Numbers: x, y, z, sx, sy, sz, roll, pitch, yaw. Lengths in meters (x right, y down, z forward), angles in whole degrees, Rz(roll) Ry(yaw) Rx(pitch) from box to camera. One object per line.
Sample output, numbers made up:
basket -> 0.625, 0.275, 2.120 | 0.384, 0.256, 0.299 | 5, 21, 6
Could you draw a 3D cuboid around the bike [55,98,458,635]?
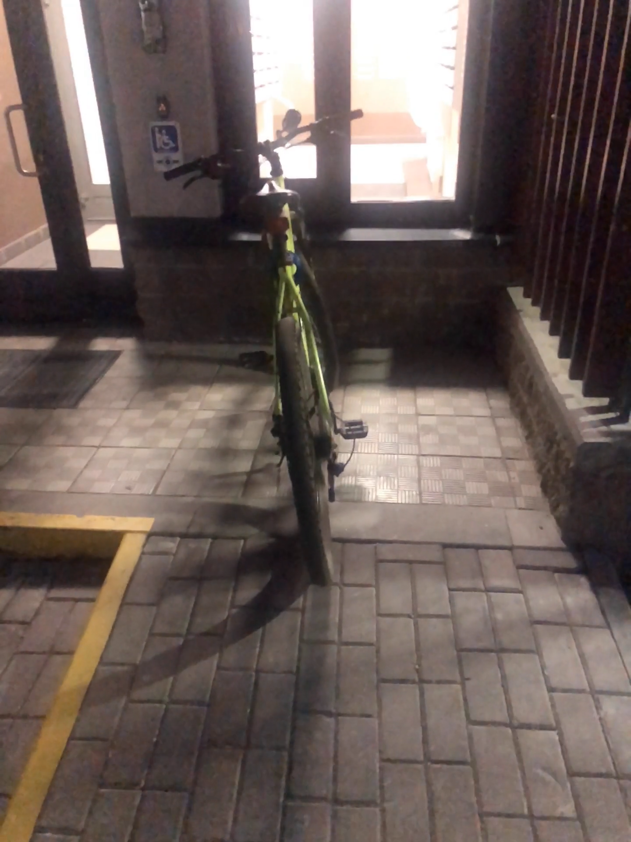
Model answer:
bike -> -0.183, -0.384, 2.261 | 0.719, 1.095, 1.768 | -4, 28, -4
